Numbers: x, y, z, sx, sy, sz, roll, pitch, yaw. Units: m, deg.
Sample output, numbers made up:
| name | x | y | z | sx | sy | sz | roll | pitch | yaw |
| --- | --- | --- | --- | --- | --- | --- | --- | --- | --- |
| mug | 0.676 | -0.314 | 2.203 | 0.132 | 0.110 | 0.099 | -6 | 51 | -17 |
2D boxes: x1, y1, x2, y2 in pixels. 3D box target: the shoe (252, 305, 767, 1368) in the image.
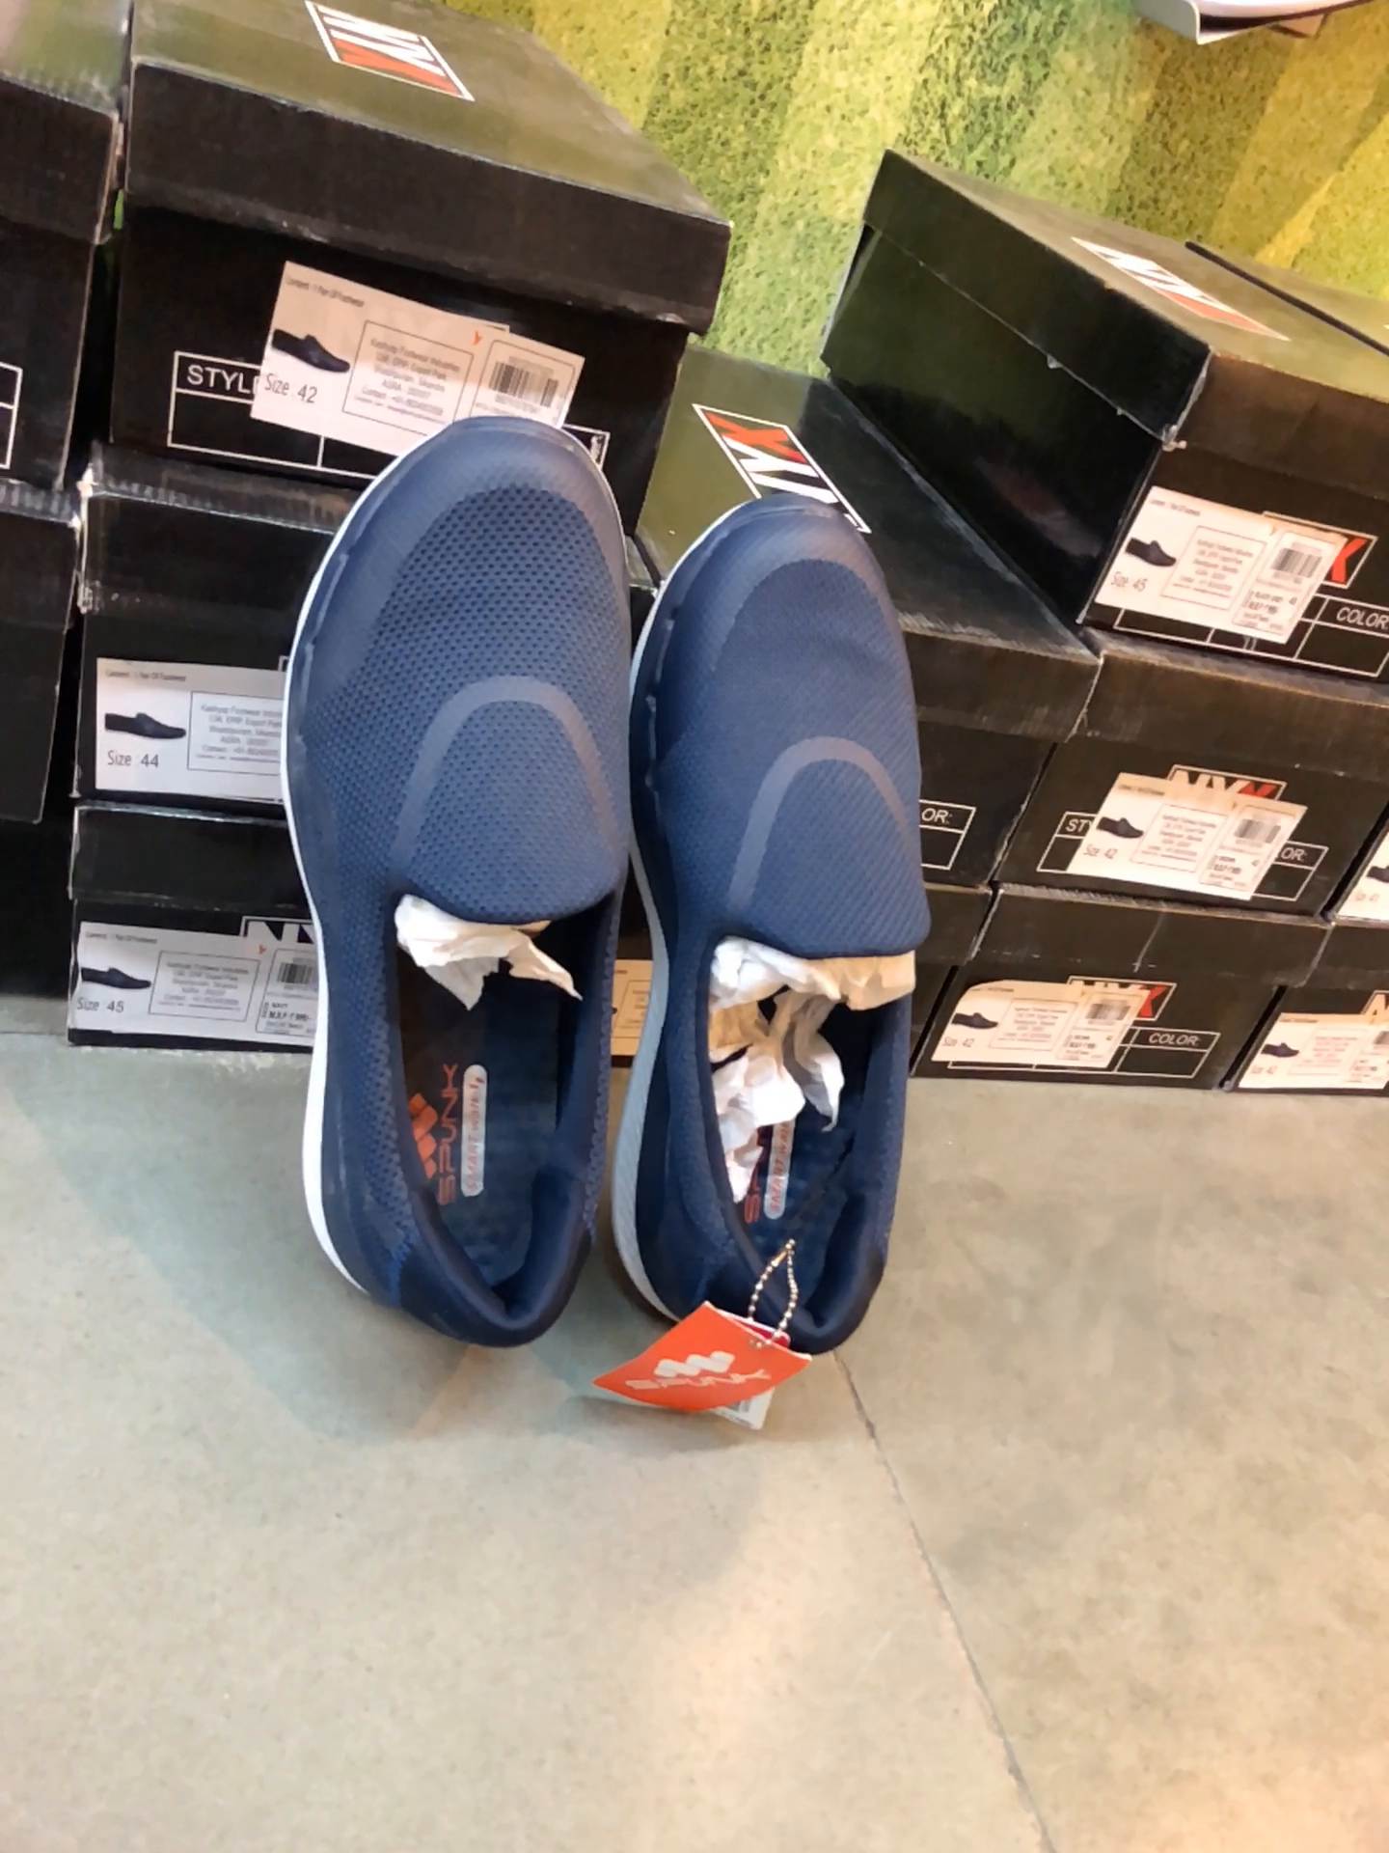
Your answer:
| name | x | y | z | sx | sy | sz | roll | pitch | yaw |
| --- | --- | --- | --- | --- | --- | --- | --- | --- | --- |
| shoe | -0.065 | -0.025 | 0.458 | 0.110 | 0.273 | 0.110 | 2 | 11 | -22 |

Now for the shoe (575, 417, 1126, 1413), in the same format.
| name | x | y | z | sx | sy | sz | roll | pitch | yaw |
| --- | --- | --- | --- | --- | --- | --- | --- | --- | --- |
| shoe | 0.041 | -0.004 | 0.477 | 0.107 | 0.273 | 0.099 | 2 | 10 | -22 |
